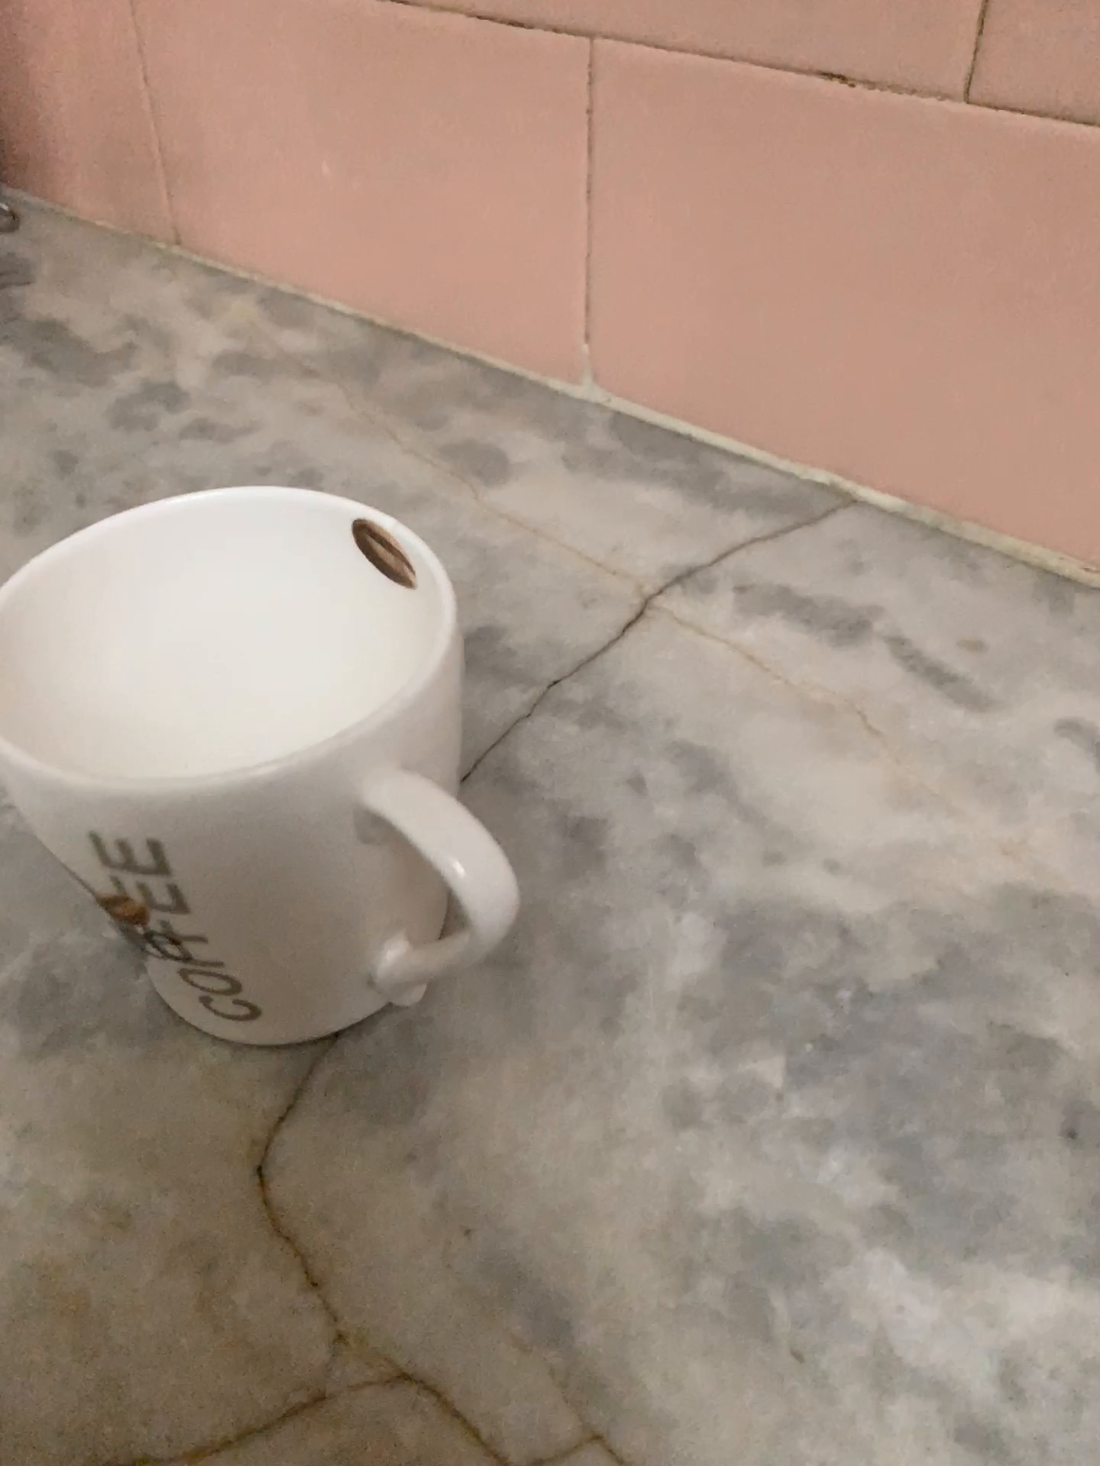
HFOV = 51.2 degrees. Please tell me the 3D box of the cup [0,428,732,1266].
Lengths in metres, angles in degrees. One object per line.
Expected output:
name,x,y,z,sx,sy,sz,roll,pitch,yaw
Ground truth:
cup,-0.036,0.011,0.184,0.100,0.070,0.070,27,50,27
